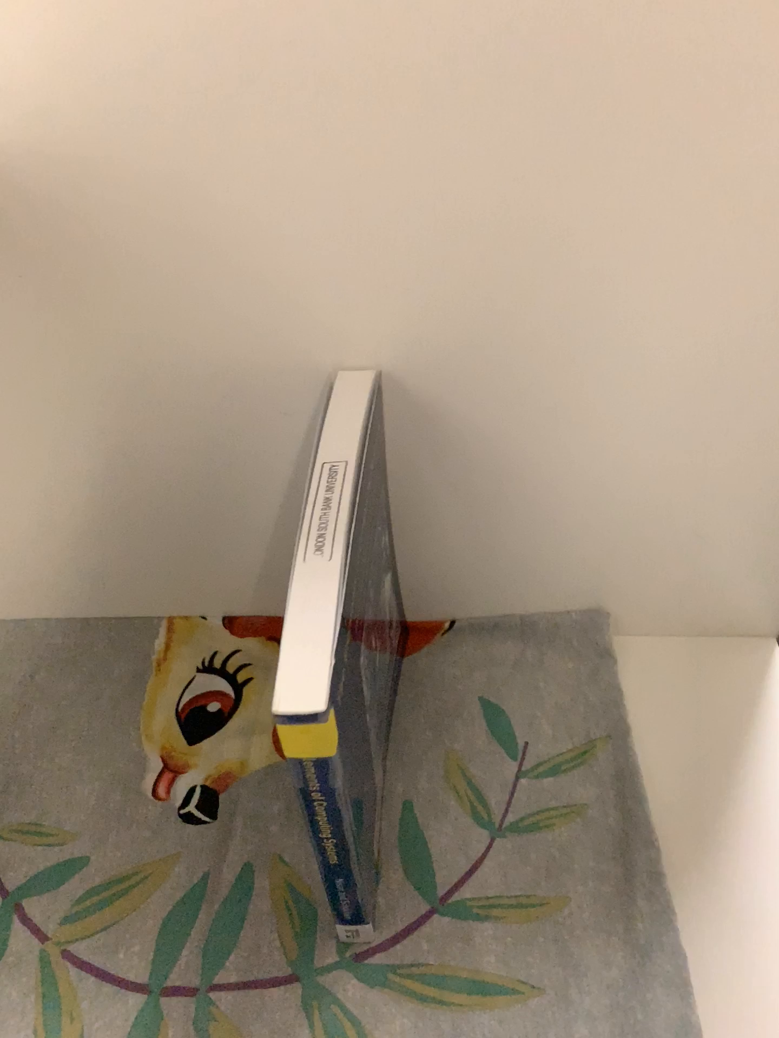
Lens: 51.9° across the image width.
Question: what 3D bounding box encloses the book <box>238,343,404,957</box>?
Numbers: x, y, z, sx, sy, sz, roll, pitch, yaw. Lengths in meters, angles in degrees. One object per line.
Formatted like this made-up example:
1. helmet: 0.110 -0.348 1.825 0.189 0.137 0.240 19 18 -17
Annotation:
1. book: -0.020 0.071 0.424 0.030 0.237 0.222 0 44 5
